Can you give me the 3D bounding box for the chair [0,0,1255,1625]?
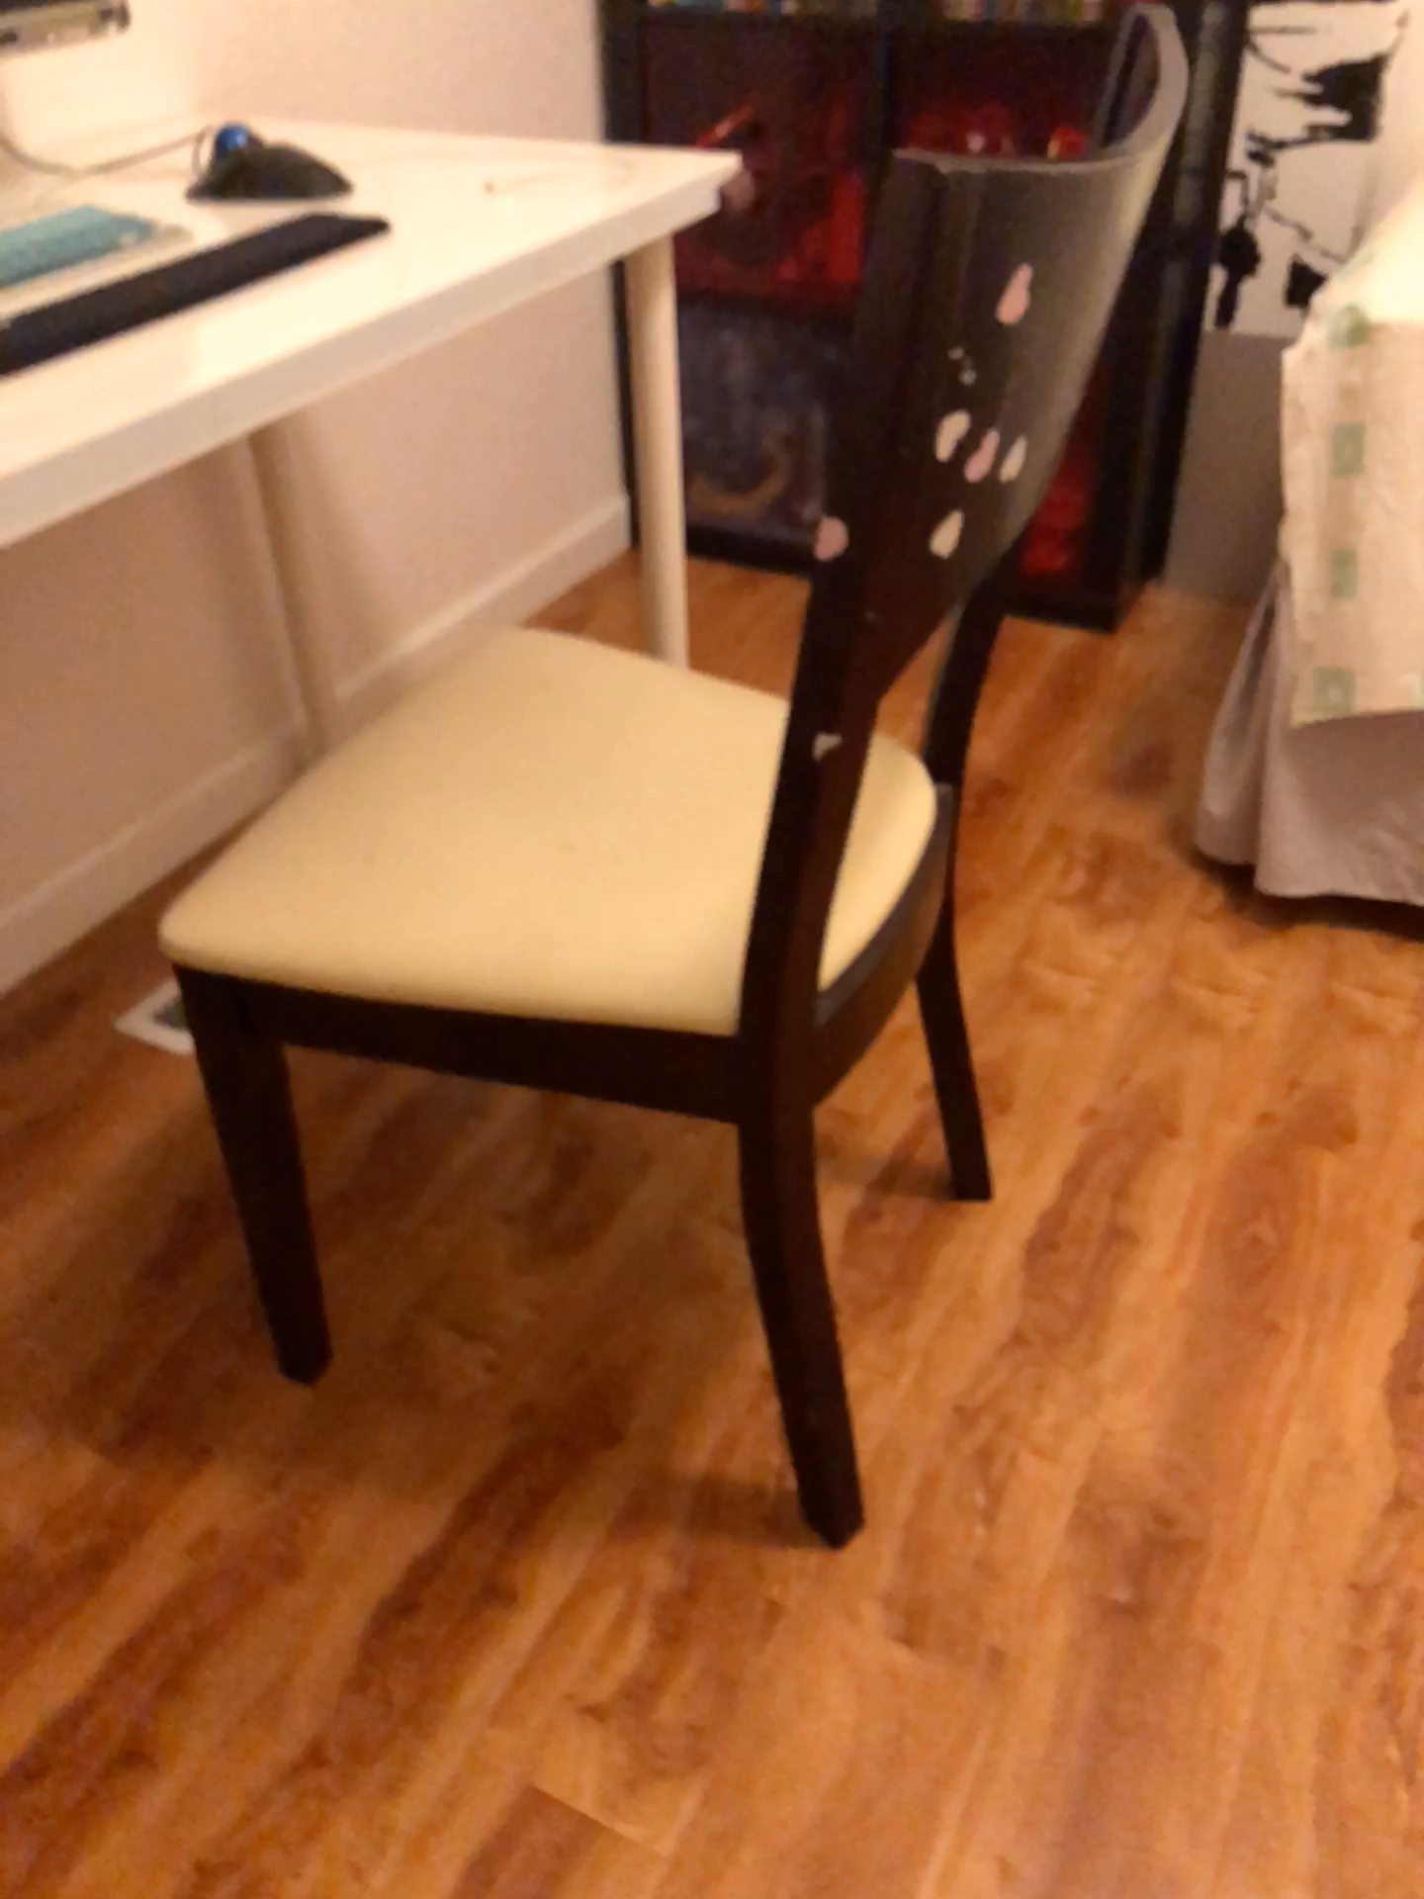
[{"bbox_3d":[-0.029,-0.114,1.028,0.510,0.845,0.533,14,39,16],"label":"chair"}]
